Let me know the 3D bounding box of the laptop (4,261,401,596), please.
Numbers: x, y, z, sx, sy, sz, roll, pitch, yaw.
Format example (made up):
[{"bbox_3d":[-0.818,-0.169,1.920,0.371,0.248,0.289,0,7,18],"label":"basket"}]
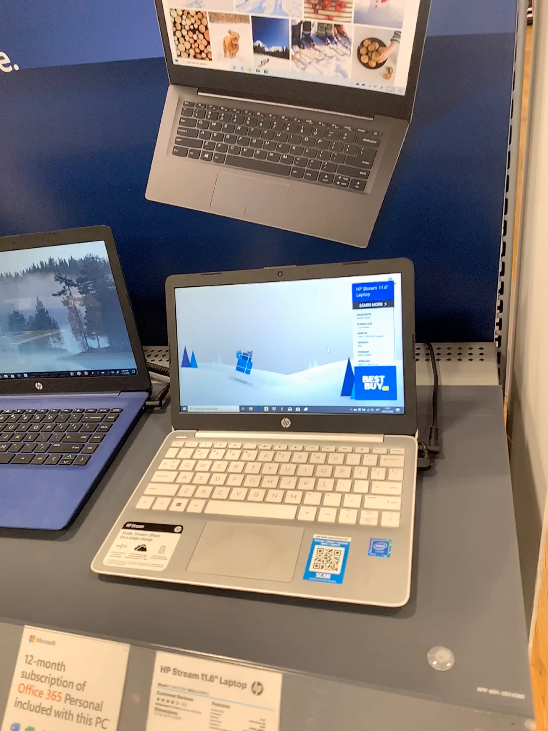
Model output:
[{"bbox_3d":[-0.027,0.034,0.524,0.266,0.144,0.275,0,35,15],"label":"laptop"}]
